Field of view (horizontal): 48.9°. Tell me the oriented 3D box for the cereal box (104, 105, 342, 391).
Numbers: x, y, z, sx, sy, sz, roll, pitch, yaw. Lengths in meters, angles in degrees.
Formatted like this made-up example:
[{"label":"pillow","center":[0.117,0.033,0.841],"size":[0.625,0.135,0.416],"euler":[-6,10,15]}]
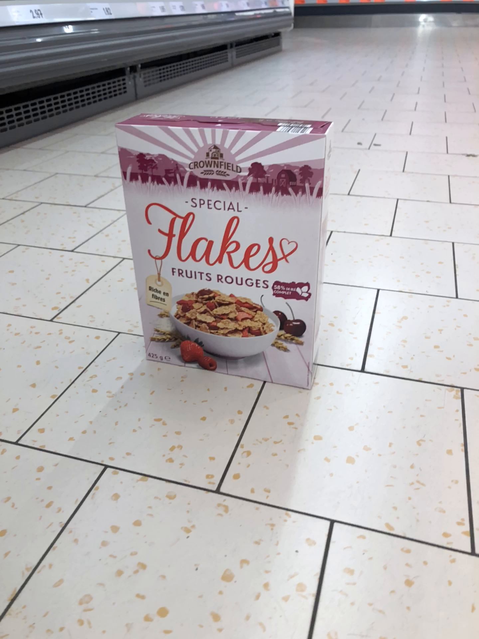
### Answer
[{"label":"cereal box","center":[-0.012,-0.068,0.524],"size":[0.200,0.258,0.060],"euler":[8,31,18]}]
